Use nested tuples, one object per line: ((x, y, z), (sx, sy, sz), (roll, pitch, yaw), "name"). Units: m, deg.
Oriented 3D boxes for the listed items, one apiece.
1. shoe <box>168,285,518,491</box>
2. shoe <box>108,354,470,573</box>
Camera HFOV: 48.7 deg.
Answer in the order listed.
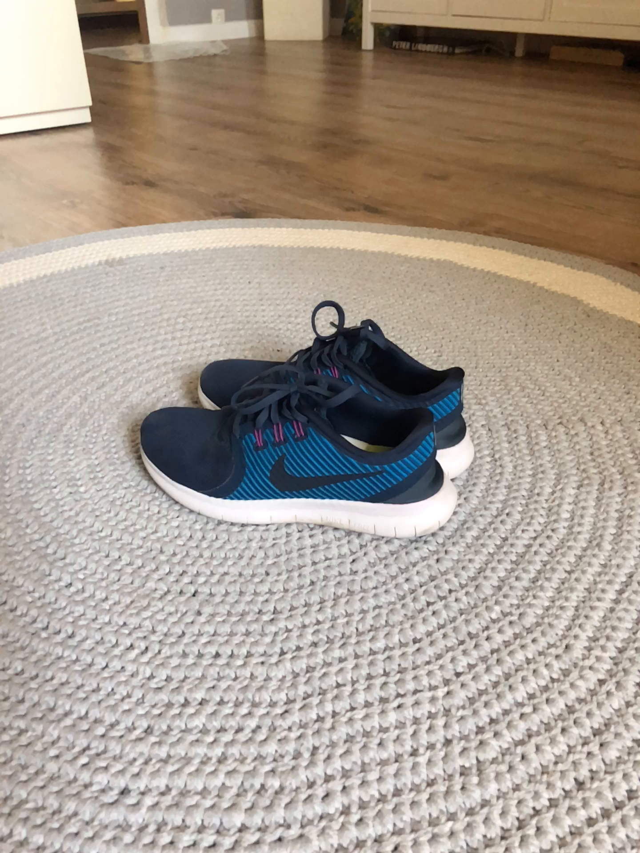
((0.016, -0.042, 0.602), (0.270, 0.080, 0.100), (15, 36, 22), "shoe")
((-0.021, 0.020, 0.537), (0.244, 0.080, 0.100), (10, 34, 15), "shoe")
